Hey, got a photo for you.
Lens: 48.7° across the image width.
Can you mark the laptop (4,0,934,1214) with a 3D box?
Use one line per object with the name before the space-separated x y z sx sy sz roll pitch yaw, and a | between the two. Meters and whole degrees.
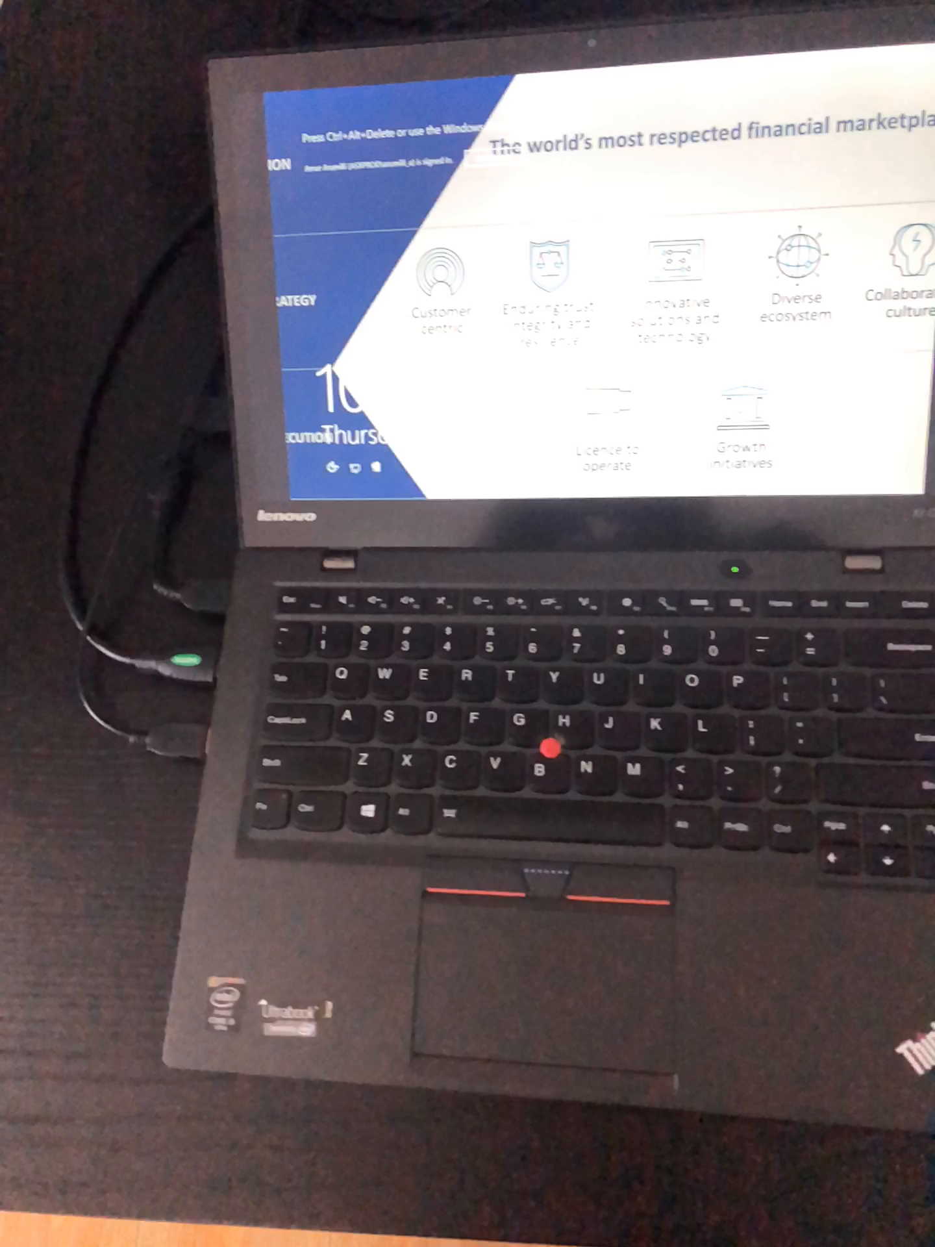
laptop | 0.045 -0.028 0.387 0.322 0.117 0.389 1 72 9
